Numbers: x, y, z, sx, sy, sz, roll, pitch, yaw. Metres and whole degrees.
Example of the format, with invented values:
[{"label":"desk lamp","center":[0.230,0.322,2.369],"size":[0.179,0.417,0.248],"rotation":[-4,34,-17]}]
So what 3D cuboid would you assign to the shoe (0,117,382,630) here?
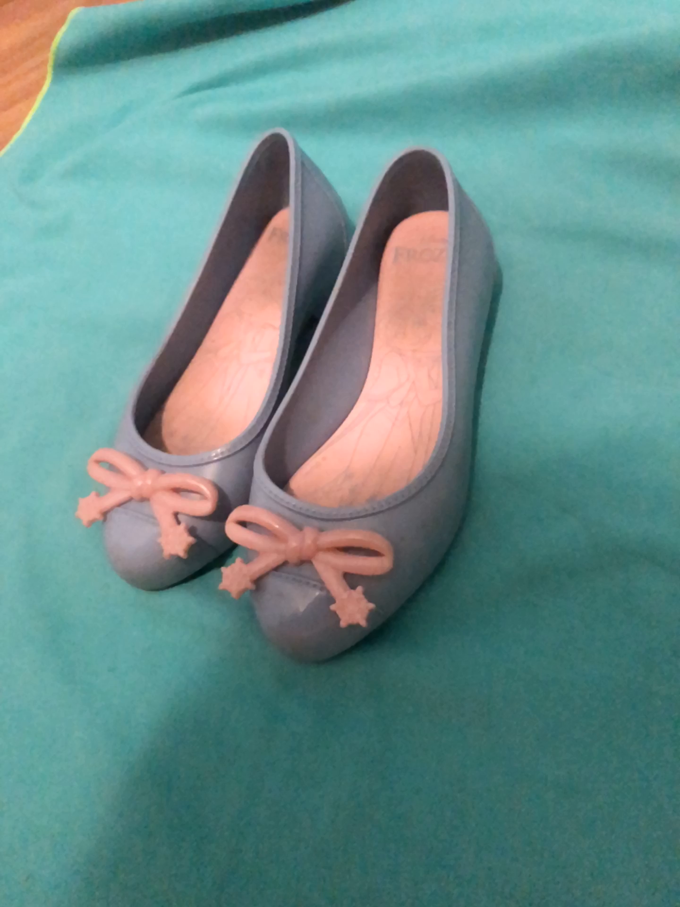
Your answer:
[{"label":"shoe","center":[-0.053,-0.040,0.297],"size":[0.080,0.060,0.191],"rotation":[8,64,22]}]

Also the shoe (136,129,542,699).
[{"label":"shoe","center":[0.013,-0.024,0.271],"size":[0.080,0.060,0.191],"rotation":[8,64,22]}]
